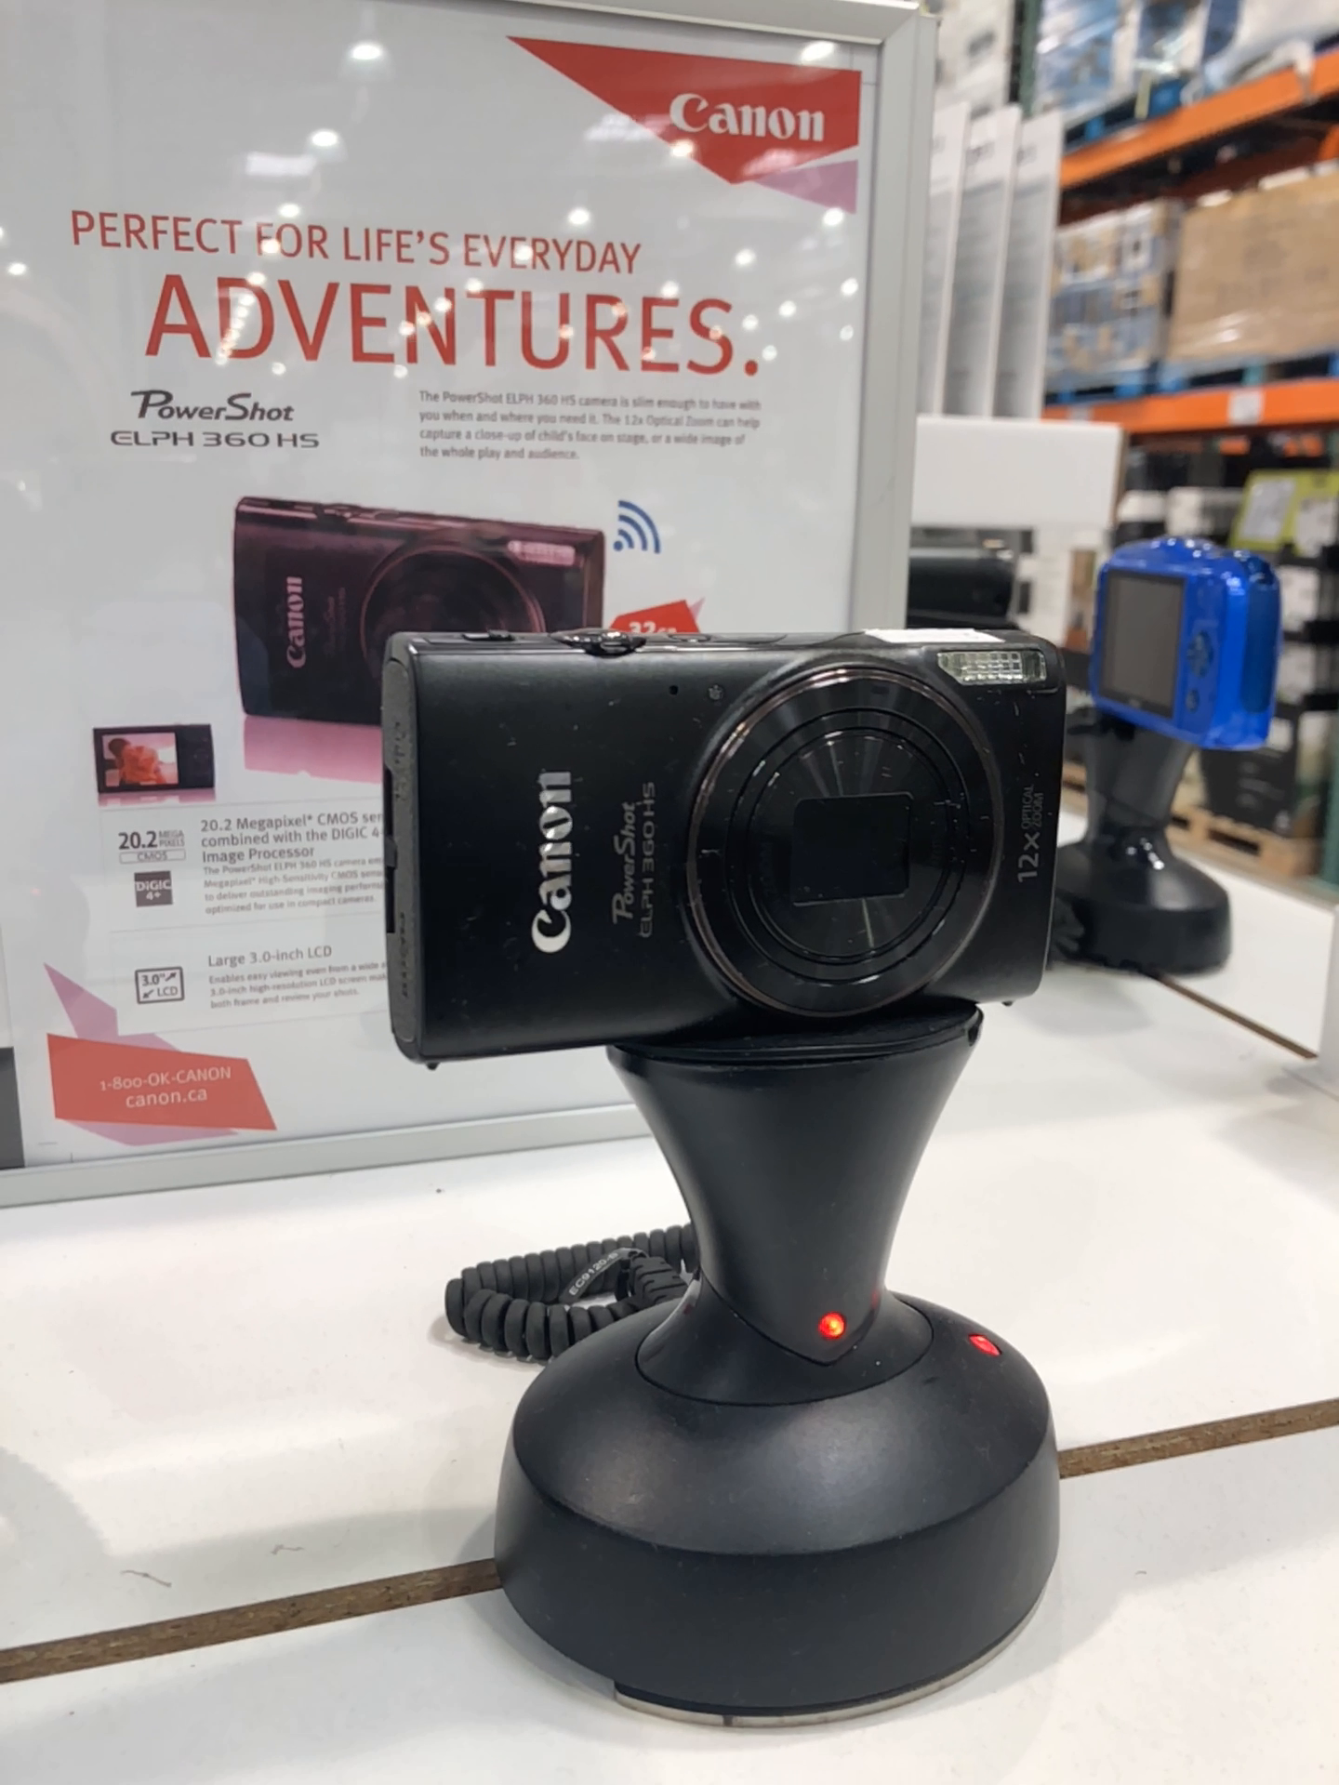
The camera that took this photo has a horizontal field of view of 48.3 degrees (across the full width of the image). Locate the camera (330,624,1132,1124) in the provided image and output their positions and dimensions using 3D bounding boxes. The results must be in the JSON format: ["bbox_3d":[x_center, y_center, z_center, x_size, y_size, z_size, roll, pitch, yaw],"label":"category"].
[{"bbox_3d":[0.009,-0.008,0.225,0.110,0.060,0.040,-5,15,-19],"label":"camera"}]
